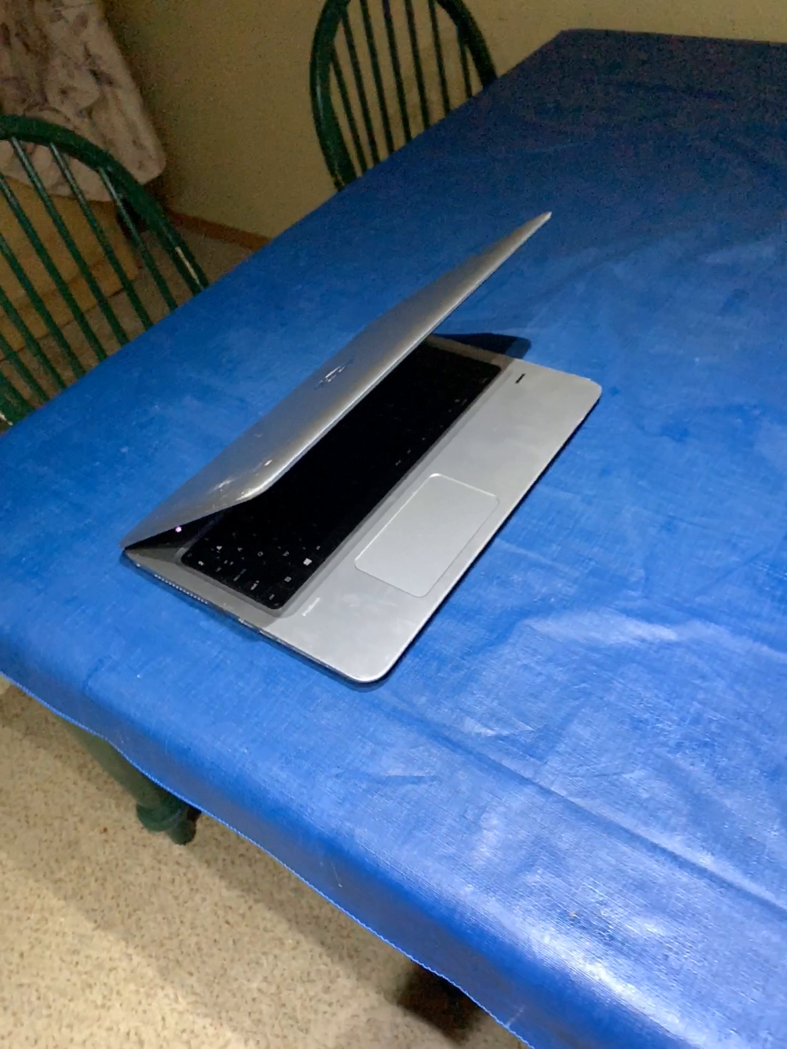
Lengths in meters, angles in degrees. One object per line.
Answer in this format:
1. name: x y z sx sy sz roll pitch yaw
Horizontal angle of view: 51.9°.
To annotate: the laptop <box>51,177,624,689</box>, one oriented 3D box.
1. laptop: -0.020 -0.105 0.648 0.254 0.156 0.367 23 54 27
